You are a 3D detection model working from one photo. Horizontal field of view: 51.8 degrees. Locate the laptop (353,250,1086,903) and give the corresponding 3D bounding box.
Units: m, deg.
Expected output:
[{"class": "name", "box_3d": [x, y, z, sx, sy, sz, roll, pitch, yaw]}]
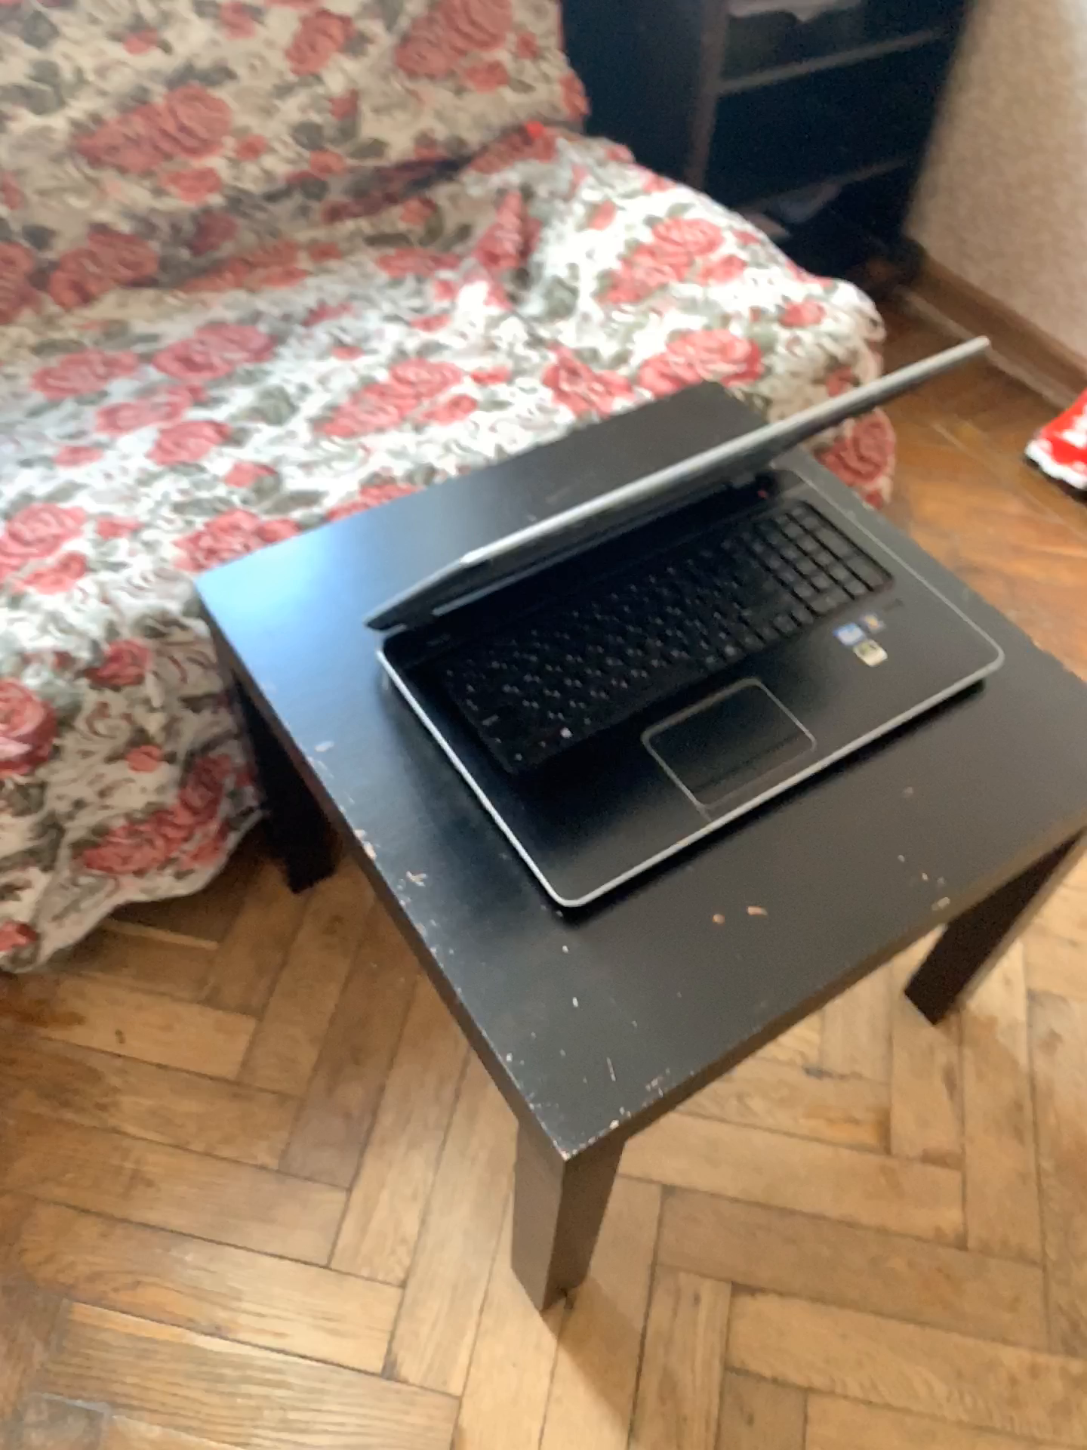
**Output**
[{"class": "laptop", "box_3d": [0.117, -0.121, 0.777, 0.405, 0.201, 0.258, -26, 58, -22]}]
